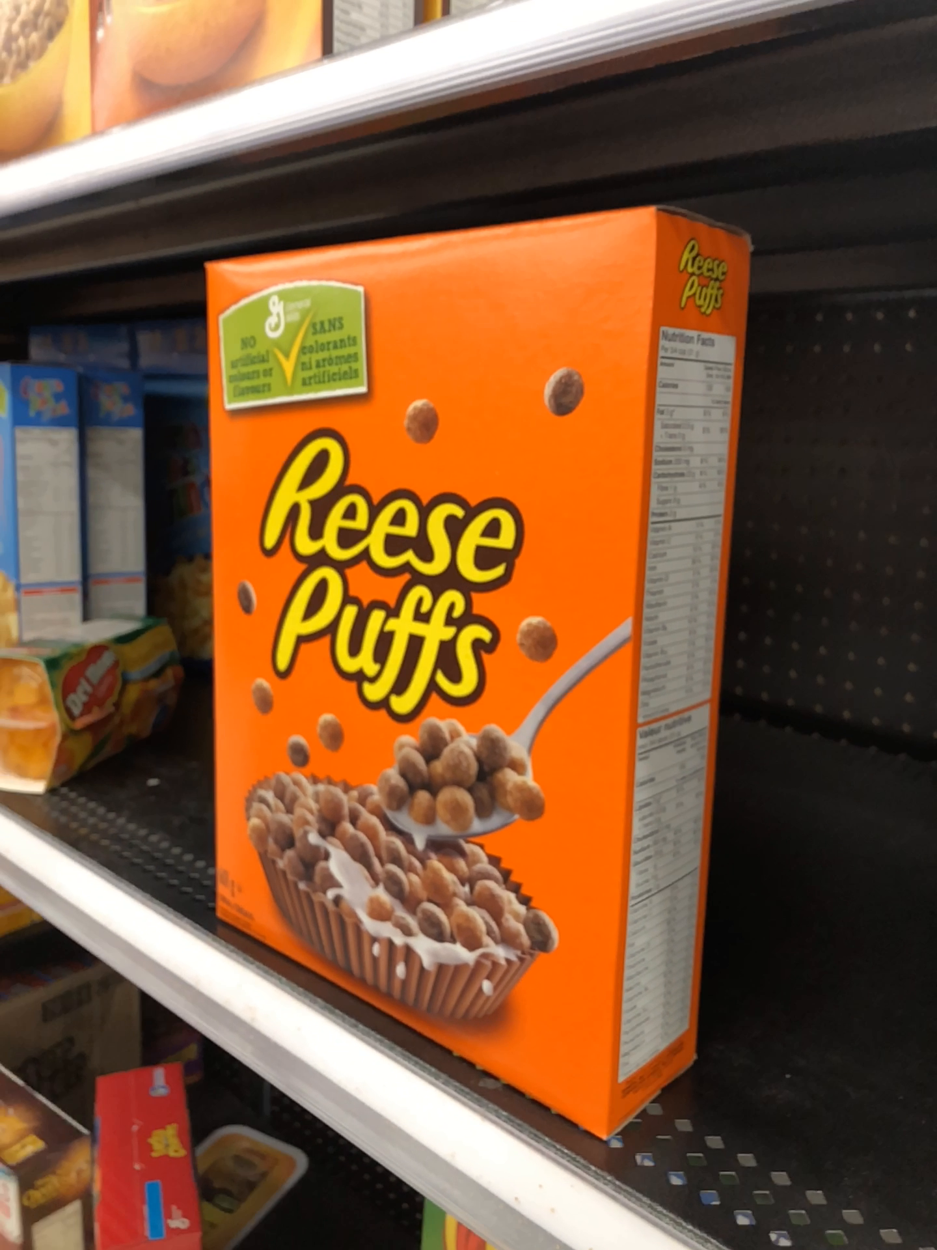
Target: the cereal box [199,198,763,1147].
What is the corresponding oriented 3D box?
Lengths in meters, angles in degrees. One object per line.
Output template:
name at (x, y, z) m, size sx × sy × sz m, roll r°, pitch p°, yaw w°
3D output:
cereal box at (-0.013, 0.006, 0.447) m, size 0.240 × 0.319 × 0.070 m, roll 10°, pitch 14°, yaw 41°
